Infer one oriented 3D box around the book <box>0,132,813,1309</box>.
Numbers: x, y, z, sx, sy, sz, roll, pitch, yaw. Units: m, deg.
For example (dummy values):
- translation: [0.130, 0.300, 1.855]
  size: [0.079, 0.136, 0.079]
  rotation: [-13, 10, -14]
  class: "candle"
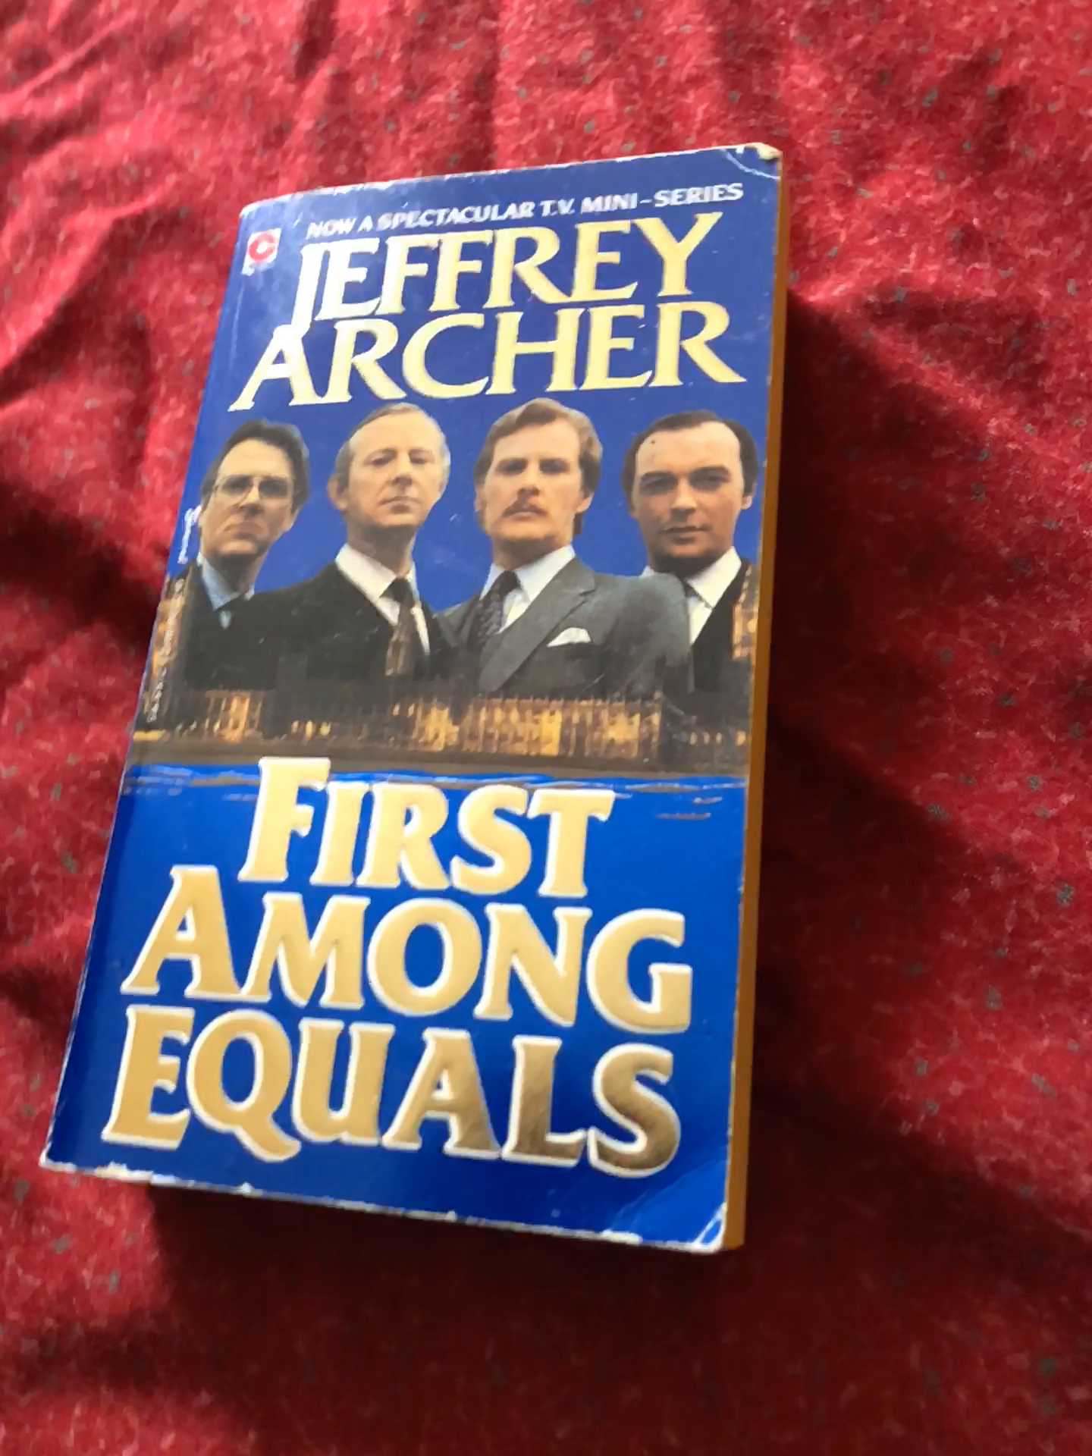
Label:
- translation: [-0.015, -0.009, 0.206]
  size: [0.110, 0.038, 0.177]
  rotation: [1, 72, 15]
  class: "book"
